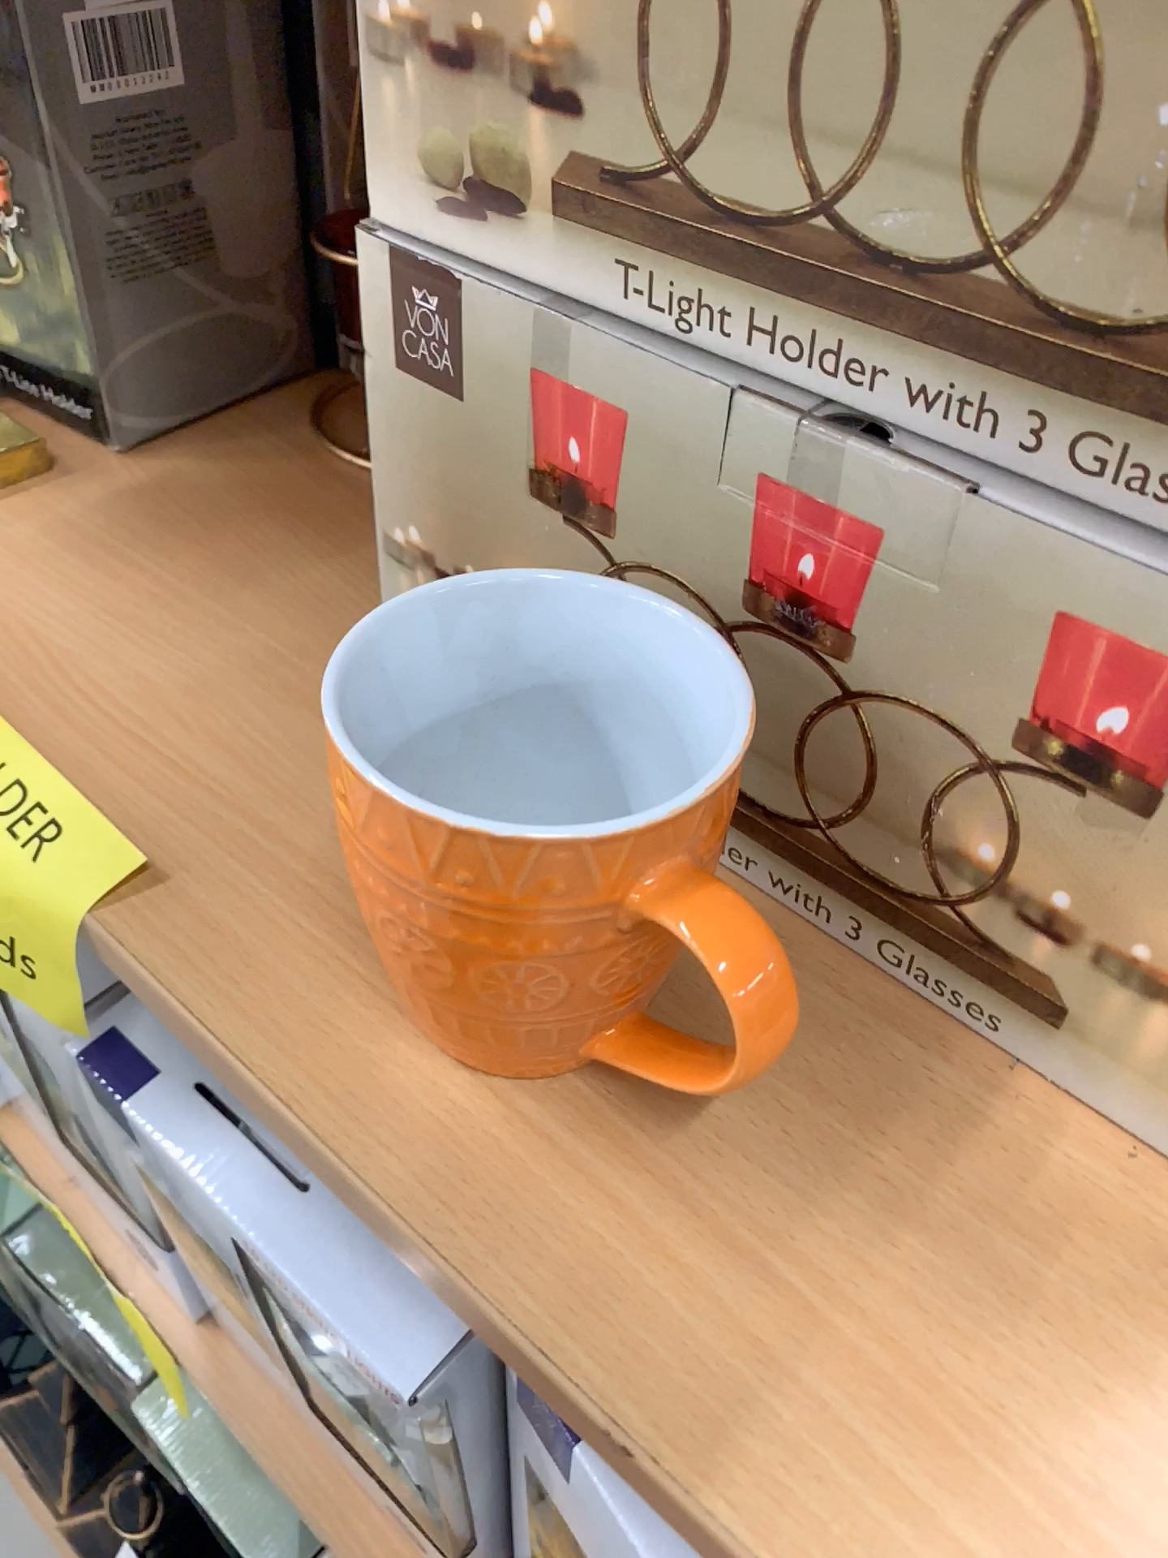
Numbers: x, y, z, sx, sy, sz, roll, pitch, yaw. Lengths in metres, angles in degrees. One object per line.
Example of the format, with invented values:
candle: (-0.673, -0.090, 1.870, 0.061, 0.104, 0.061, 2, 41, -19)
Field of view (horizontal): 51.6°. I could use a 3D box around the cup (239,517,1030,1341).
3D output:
cup: (0.002, 0.021, 0.239, 0.080, 0.080, 0.120, -27, 51, -31)
